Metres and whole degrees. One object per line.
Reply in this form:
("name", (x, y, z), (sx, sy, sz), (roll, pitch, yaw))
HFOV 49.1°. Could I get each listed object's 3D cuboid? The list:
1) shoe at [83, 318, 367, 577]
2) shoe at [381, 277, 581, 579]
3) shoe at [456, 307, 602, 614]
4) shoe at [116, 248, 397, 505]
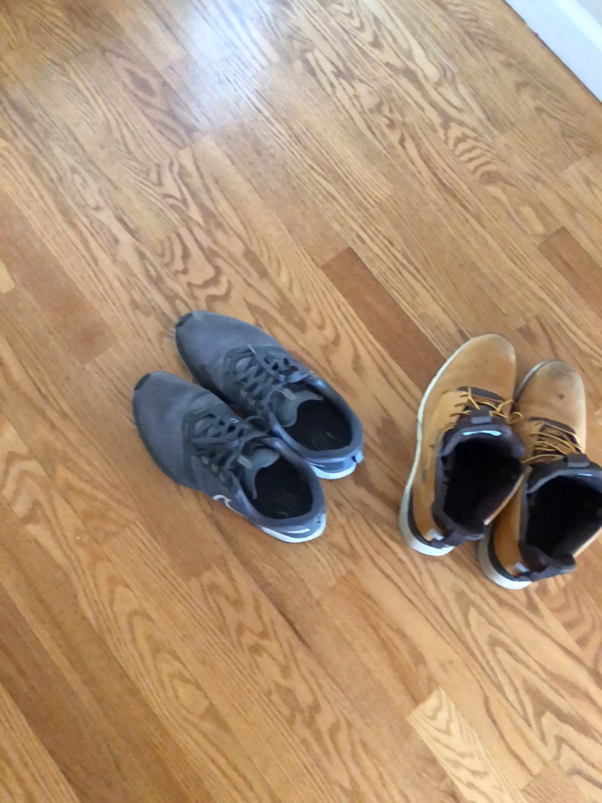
("shoe", (-0.094, 0.061, 0.832), (0.320, 0.100, 0.140), (39, 76, 4))
("shoe", (0.217, 0.037, 0.808), (0.130, 0.140, 0.320), (18, 75, -1))
("shoe", (0.311, 0.073, 0.803), (0.130, 0.140, 0.320), (18, 75, -1))
("shoe", (-0.059, -0.029, 0.858), (0.330, 0.100, 0.140), (39, 76, 4))
